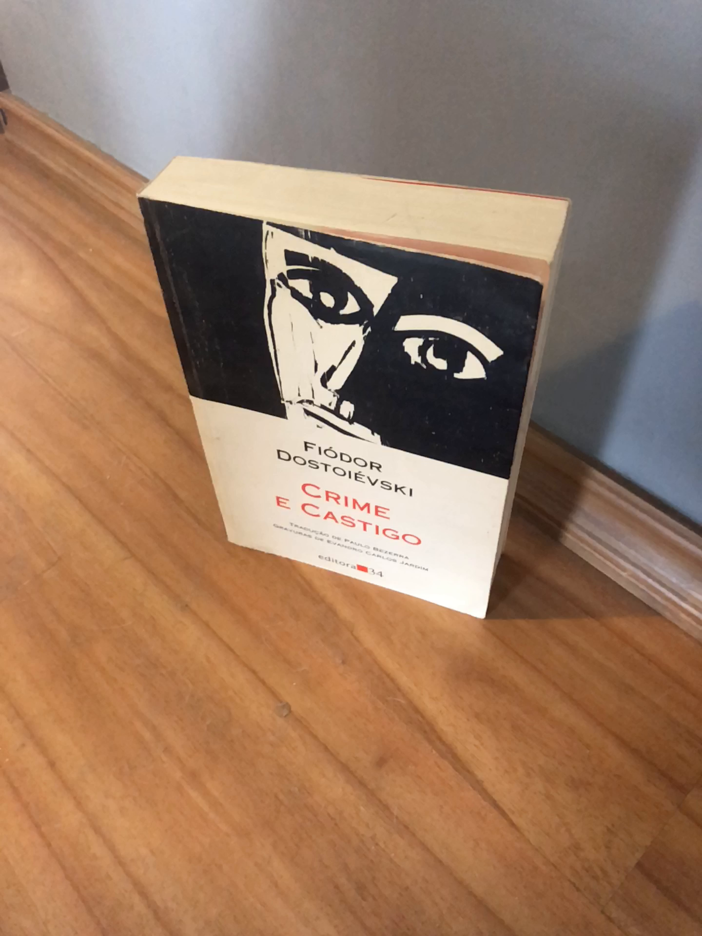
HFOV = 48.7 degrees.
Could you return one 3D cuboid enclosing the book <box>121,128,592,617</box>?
[{"bbox_3d":[0.002,-0.031,0.372,0.170,0.222,0.045,15,51,14],"label":"book"}]
